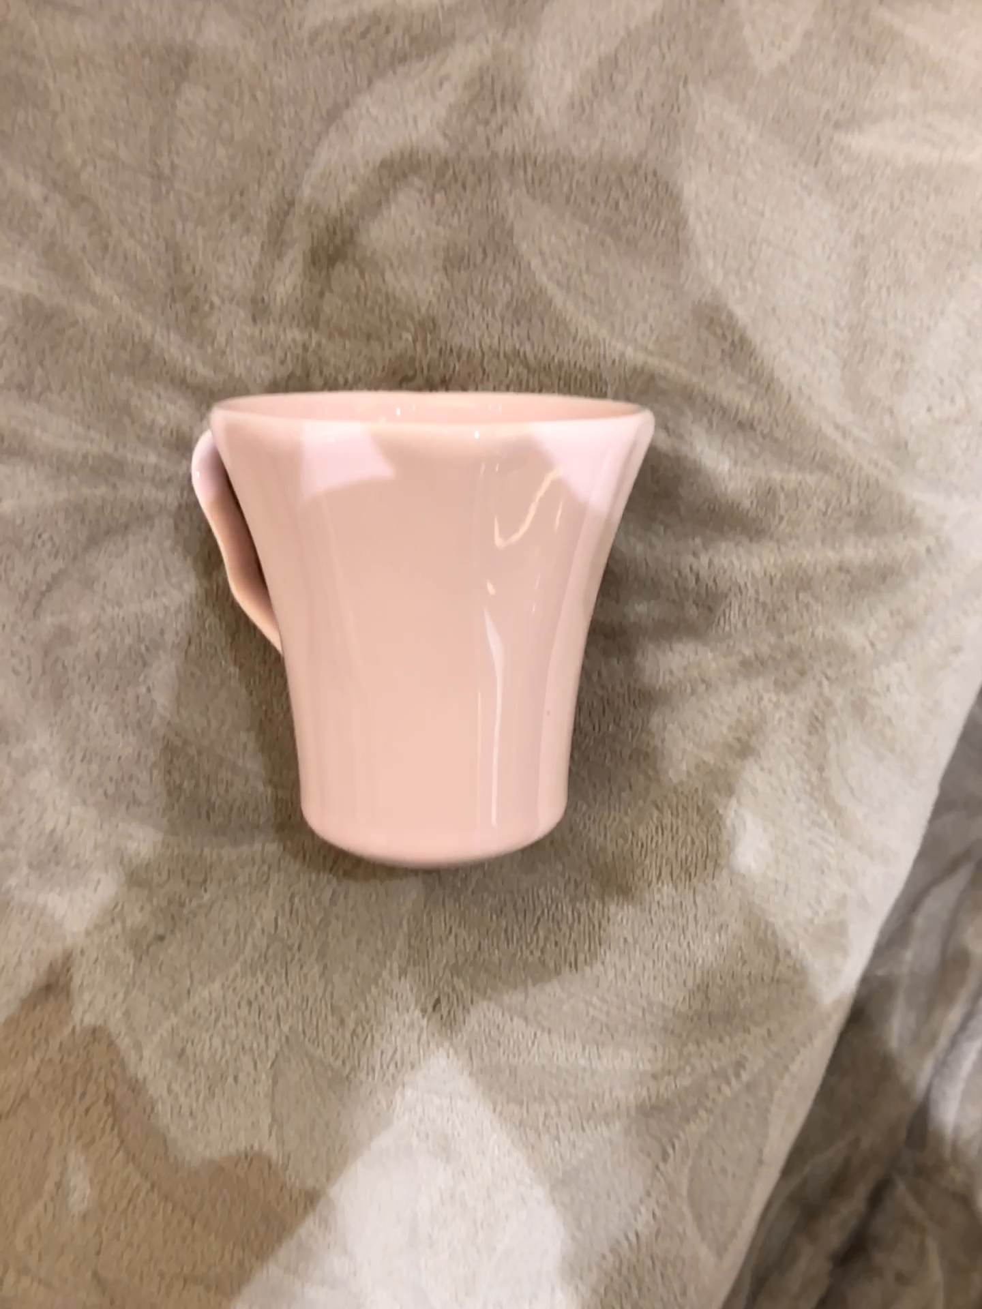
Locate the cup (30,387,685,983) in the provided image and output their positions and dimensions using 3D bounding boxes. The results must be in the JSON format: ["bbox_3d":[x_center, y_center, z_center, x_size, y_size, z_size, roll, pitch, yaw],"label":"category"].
[{"bbox_3d":[-0.025,-0.006,0.216,0.100,0.070,0.090,9,107,33],"label":"cup"}]
